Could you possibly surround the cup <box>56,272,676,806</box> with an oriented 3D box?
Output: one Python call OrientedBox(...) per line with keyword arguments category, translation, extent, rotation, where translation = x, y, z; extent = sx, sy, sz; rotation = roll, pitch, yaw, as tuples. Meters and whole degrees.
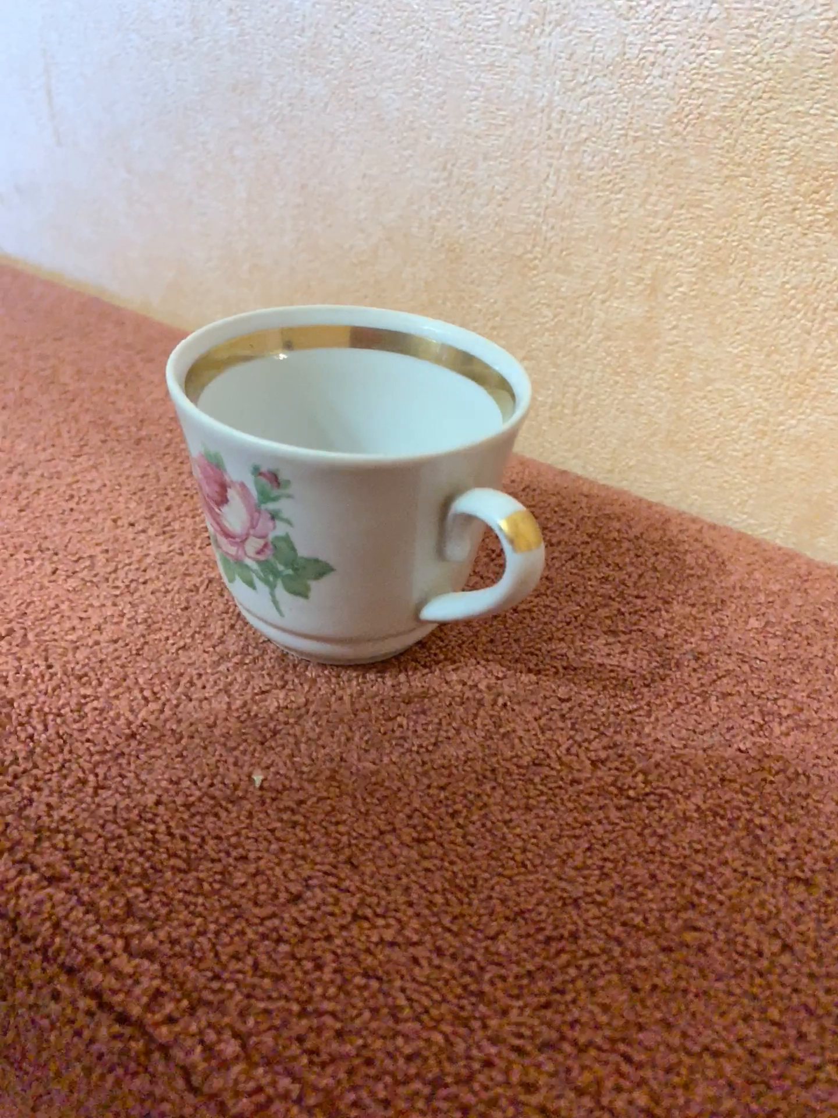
OrientedBox(category="cup", translation=(-0.012, -0.013, 0.164), extent=(0.067, 0.047, 0.086), rotation=(-29, 46, -36))
